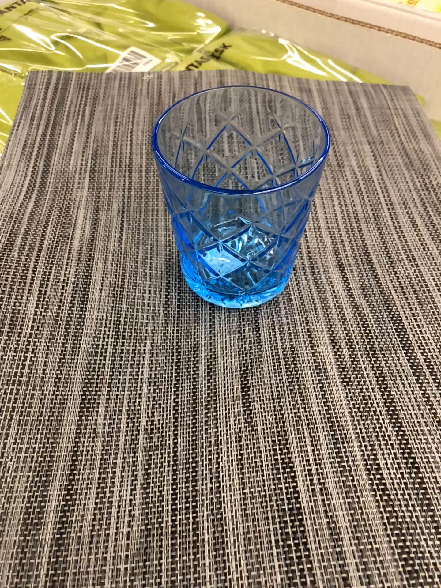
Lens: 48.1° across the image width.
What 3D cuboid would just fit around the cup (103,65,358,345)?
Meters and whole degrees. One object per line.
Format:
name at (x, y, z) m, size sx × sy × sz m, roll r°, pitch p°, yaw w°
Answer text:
cup at (0.007, -0.043, 0.248) m, size 0.090 × 0.090 × 0.080 m, roll 16°, pitch 52°, yaw 9°
